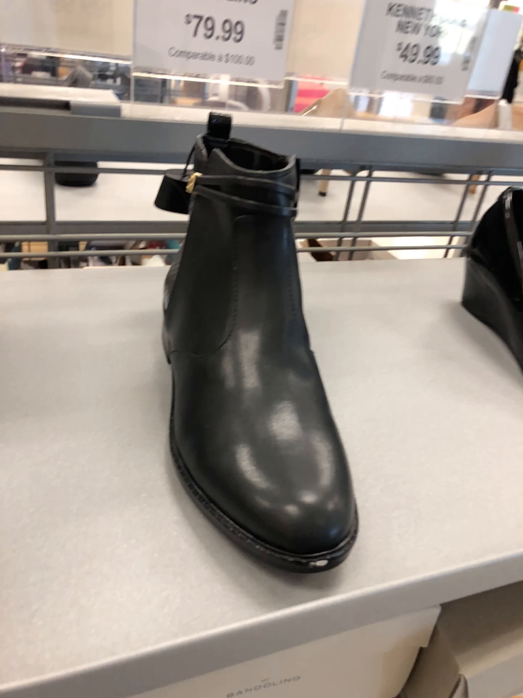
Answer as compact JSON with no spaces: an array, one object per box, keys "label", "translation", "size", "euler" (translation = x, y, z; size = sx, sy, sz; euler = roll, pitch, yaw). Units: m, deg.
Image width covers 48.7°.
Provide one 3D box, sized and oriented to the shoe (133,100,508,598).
[{"label":"shoe","translation":[-0.006,-0.025,0.306],"size":[0.090,0.149,0.232],"euler":[-3,33,-19]}]
